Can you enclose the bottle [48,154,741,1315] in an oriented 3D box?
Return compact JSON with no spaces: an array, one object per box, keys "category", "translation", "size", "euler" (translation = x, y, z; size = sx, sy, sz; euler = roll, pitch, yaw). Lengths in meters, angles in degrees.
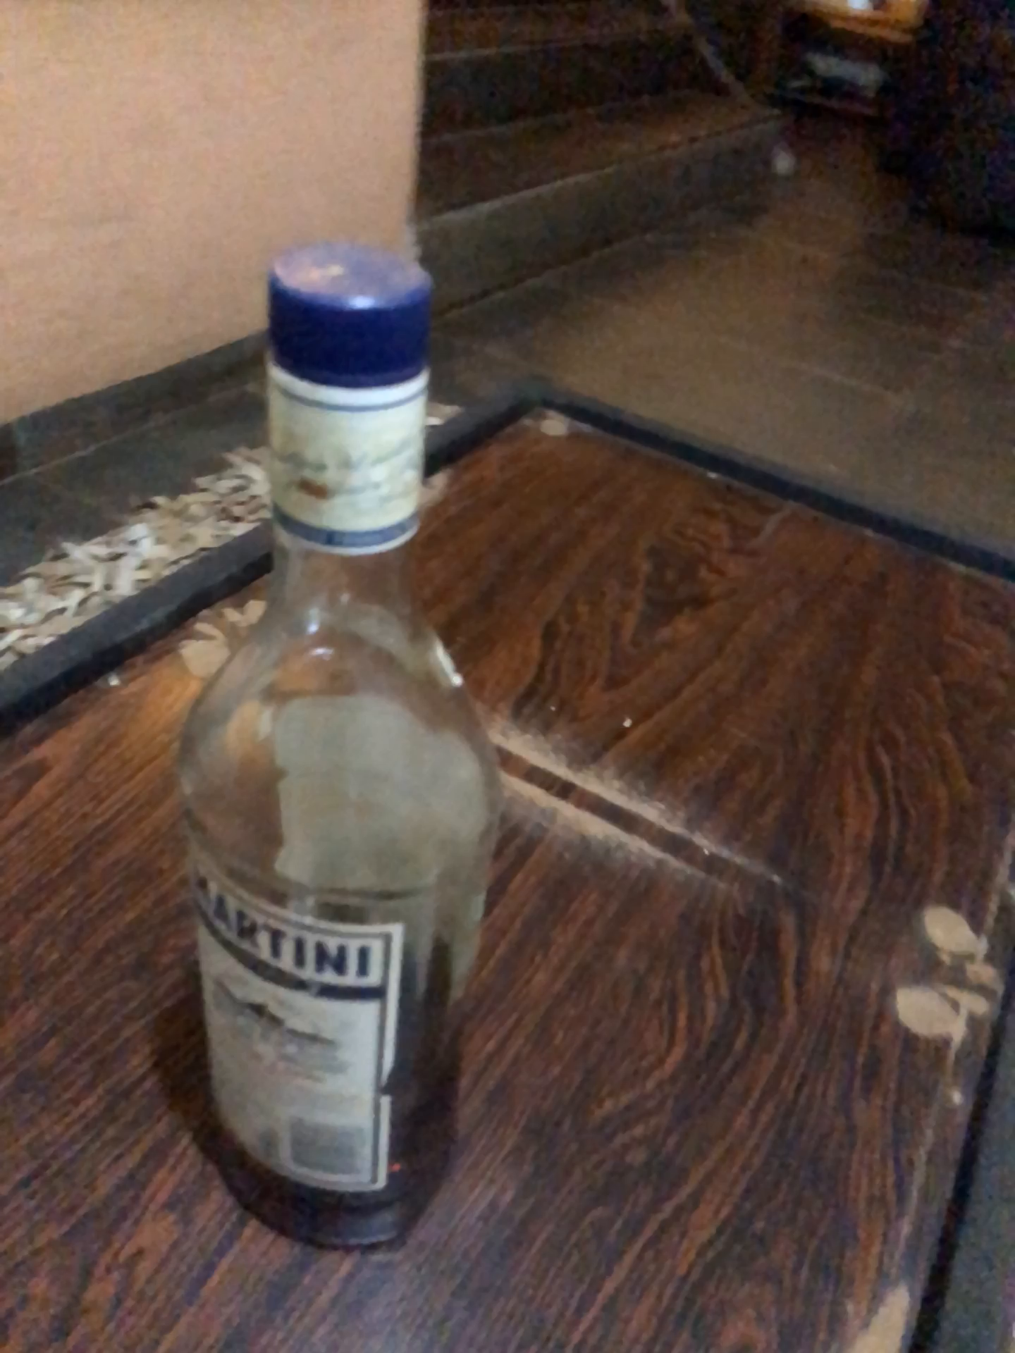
[{"category":"bottle","translation":[-0.039,0.034,0.303],"size":[0.100,0.298,0.091],"euler":[28,39,23]}]
